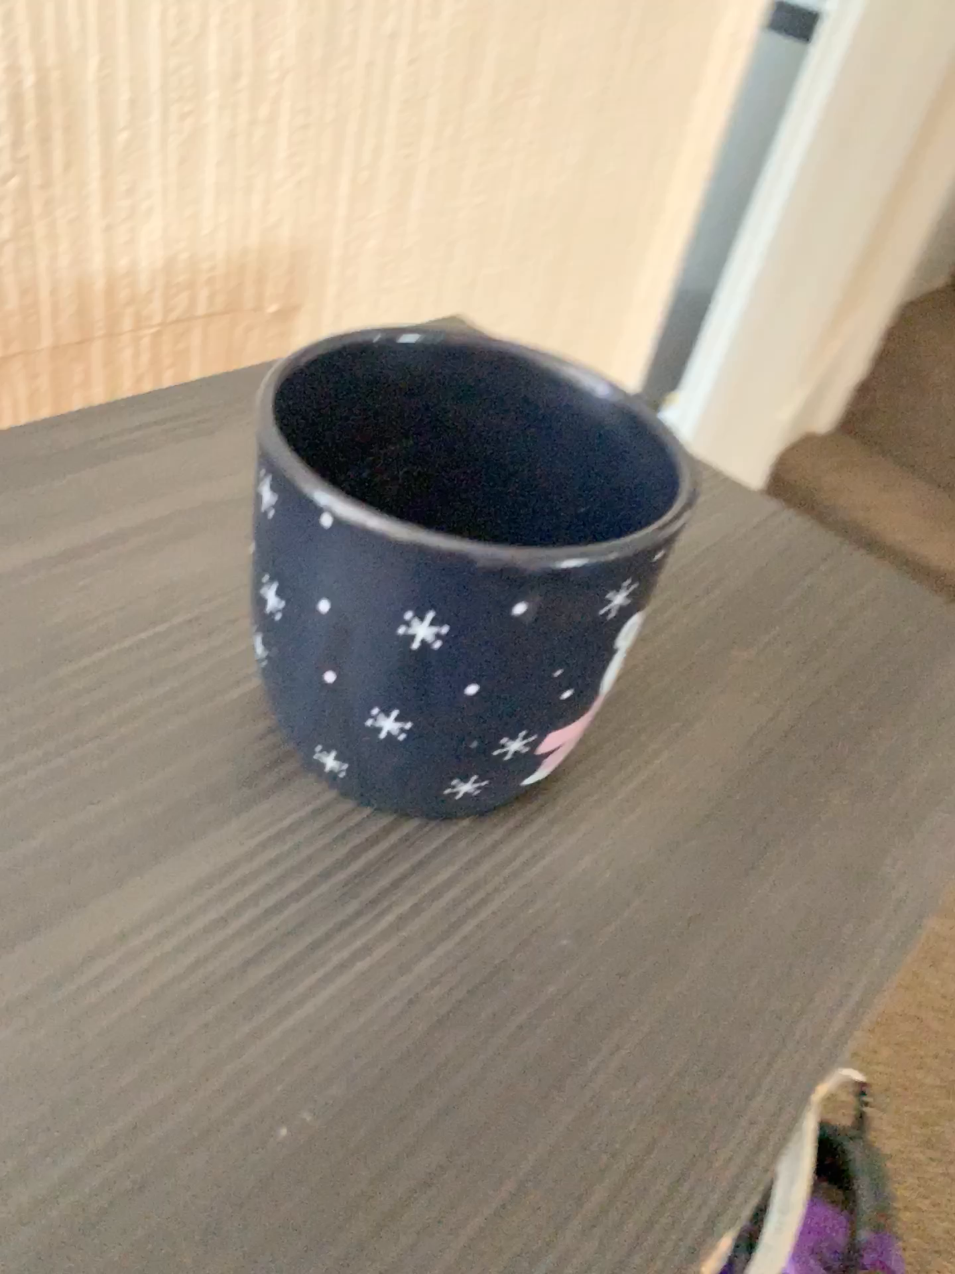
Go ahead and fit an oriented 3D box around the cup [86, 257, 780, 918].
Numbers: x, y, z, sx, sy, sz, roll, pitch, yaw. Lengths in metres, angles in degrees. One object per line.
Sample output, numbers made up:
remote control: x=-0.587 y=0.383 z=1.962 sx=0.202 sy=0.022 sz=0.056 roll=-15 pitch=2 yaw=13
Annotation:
cup: x=-0.005 y=-0.025 z=0.235 sx=0.100 sy=0.069 sz=0.131 roll=28 pitch=41 yaw=14
